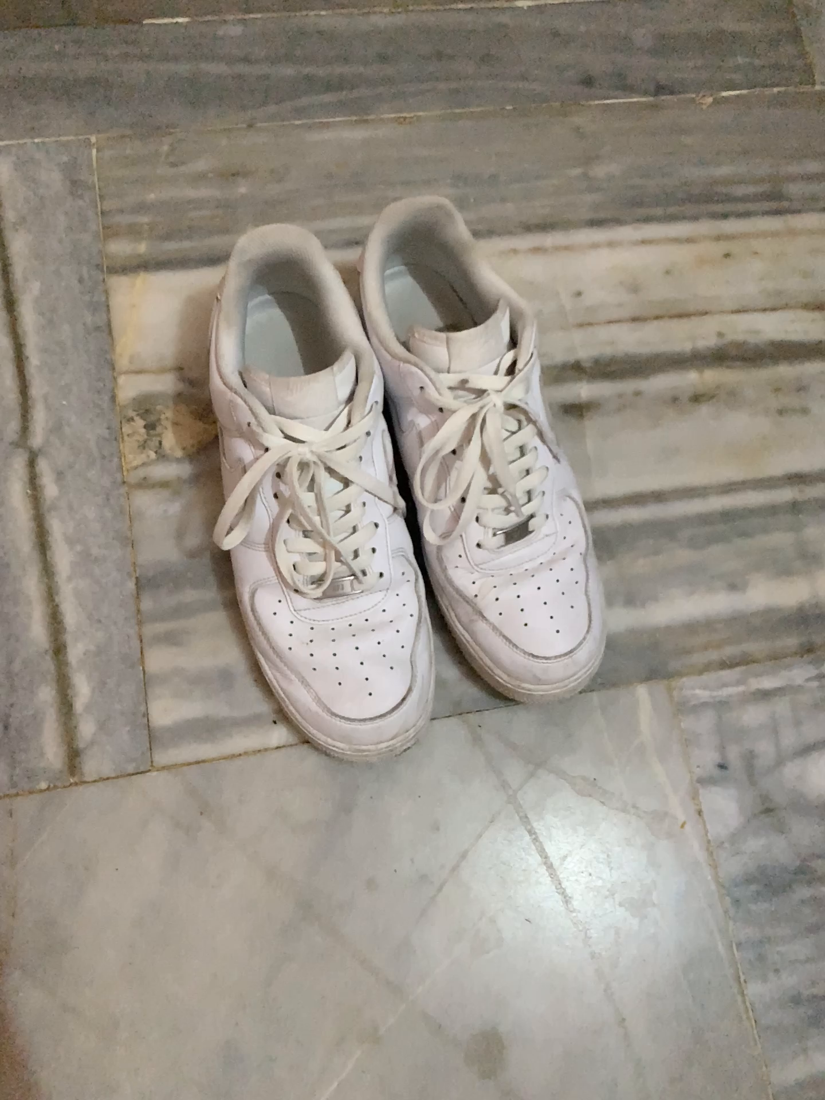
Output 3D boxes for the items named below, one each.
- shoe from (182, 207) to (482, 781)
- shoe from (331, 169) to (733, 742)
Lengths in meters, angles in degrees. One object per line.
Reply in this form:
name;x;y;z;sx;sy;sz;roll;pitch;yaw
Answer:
shoe;-0.055;-0.030;0.509;0.110;0.120;0.310;-9;76;-9
shoe;0.055;-0.053;0.520;0.110;0.120;0.310;-19;78;-12
